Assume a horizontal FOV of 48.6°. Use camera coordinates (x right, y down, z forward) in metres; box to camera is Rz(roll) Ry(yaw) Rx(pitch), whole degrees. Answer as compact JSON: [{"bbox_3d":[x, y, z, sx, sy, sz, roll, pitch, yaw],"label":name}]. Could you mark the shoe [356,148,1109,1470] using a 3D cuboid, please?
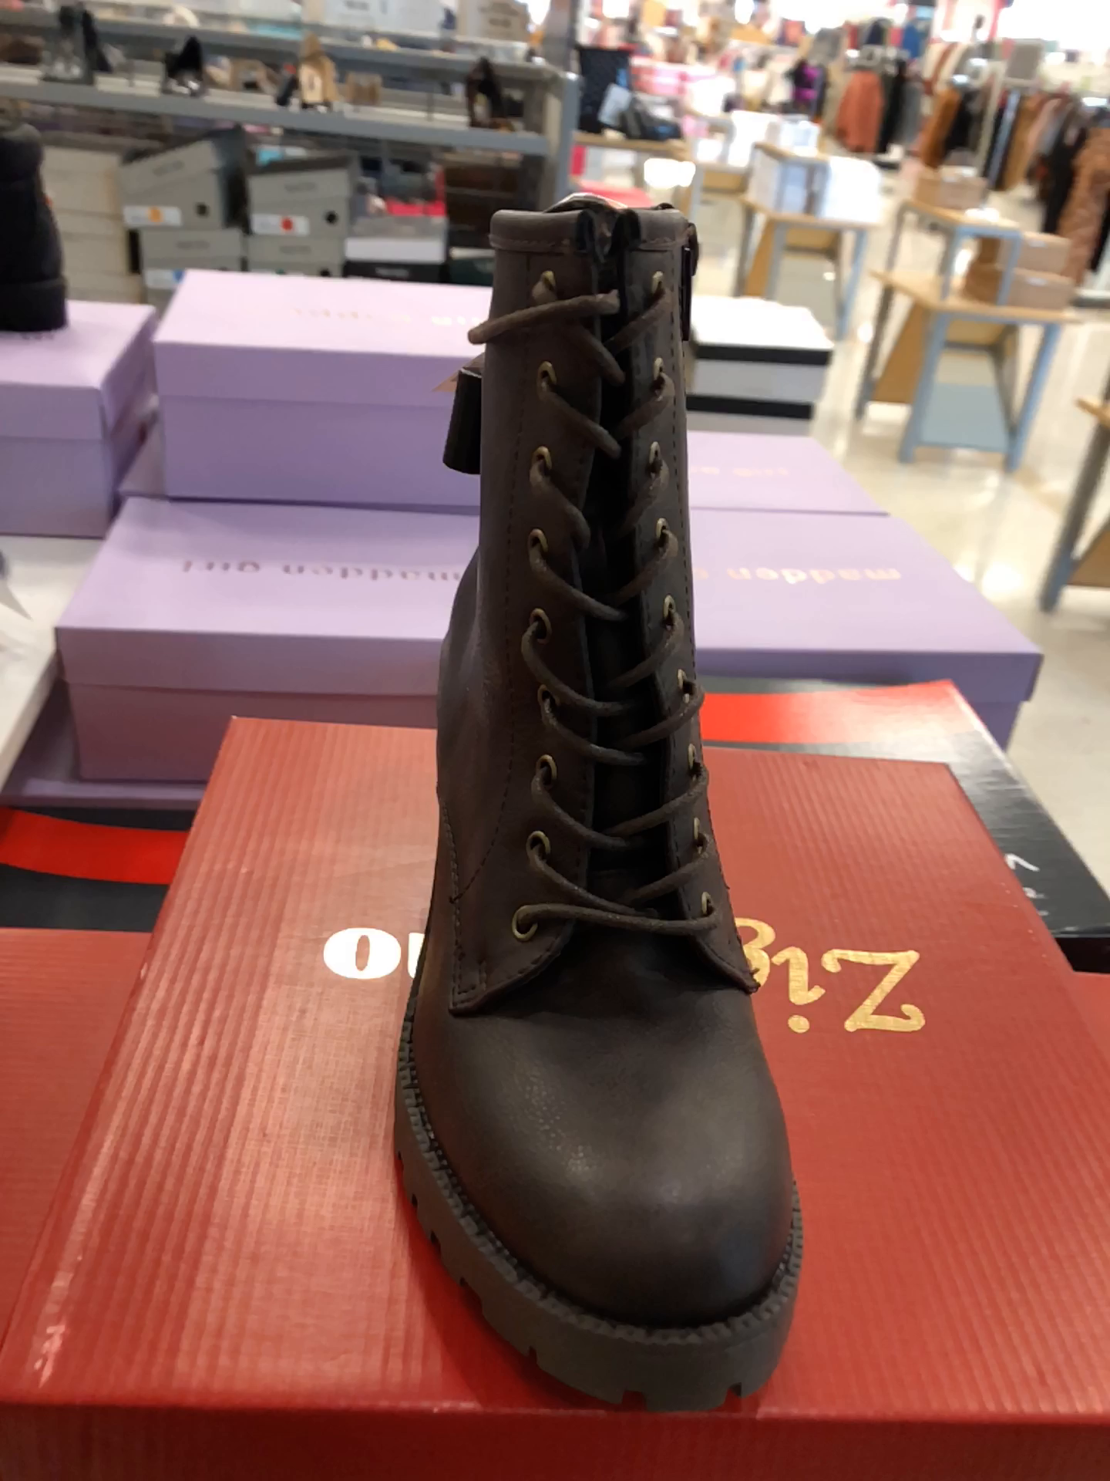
[{"bbox_3d":[0.006,-0.009,0.305,0.100,0.218,0.242,1,31,-11],"label":"shoe"}]
